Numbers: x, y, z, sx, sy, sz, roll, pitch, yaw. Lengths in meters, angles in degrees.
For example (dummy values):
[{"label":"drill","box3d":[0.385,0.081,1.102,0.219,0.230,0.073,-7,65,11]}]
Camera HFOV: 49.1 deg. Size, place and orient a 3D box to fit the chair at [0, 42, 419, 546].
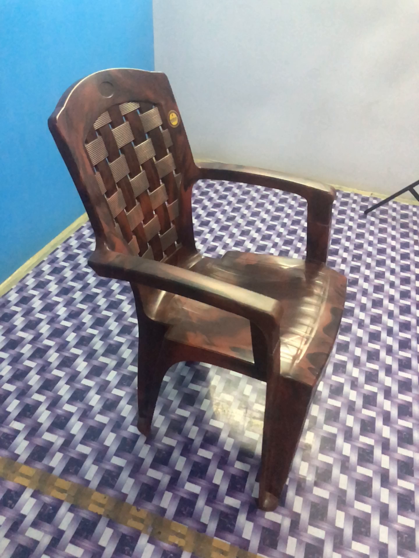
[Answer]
[{"label":"chair","box3d":[0.045,0.003,1.053,0.590,0.845,0.594,16,38,16]}]
